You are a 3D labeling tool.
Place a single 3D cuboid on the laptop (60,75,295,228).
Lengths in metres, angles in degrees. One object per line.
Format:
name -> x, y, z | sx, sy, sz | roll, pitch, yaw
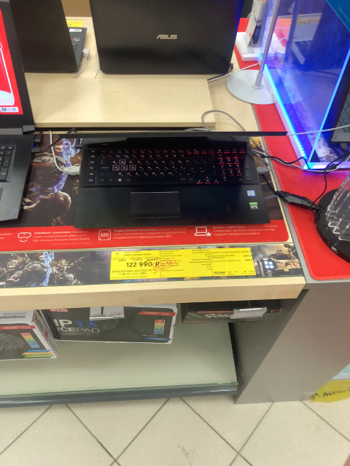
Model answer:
laptop -> -0.006, -0.172, 0.785 | 0.394, 0.166, 0.259 | -2, 53, -4
